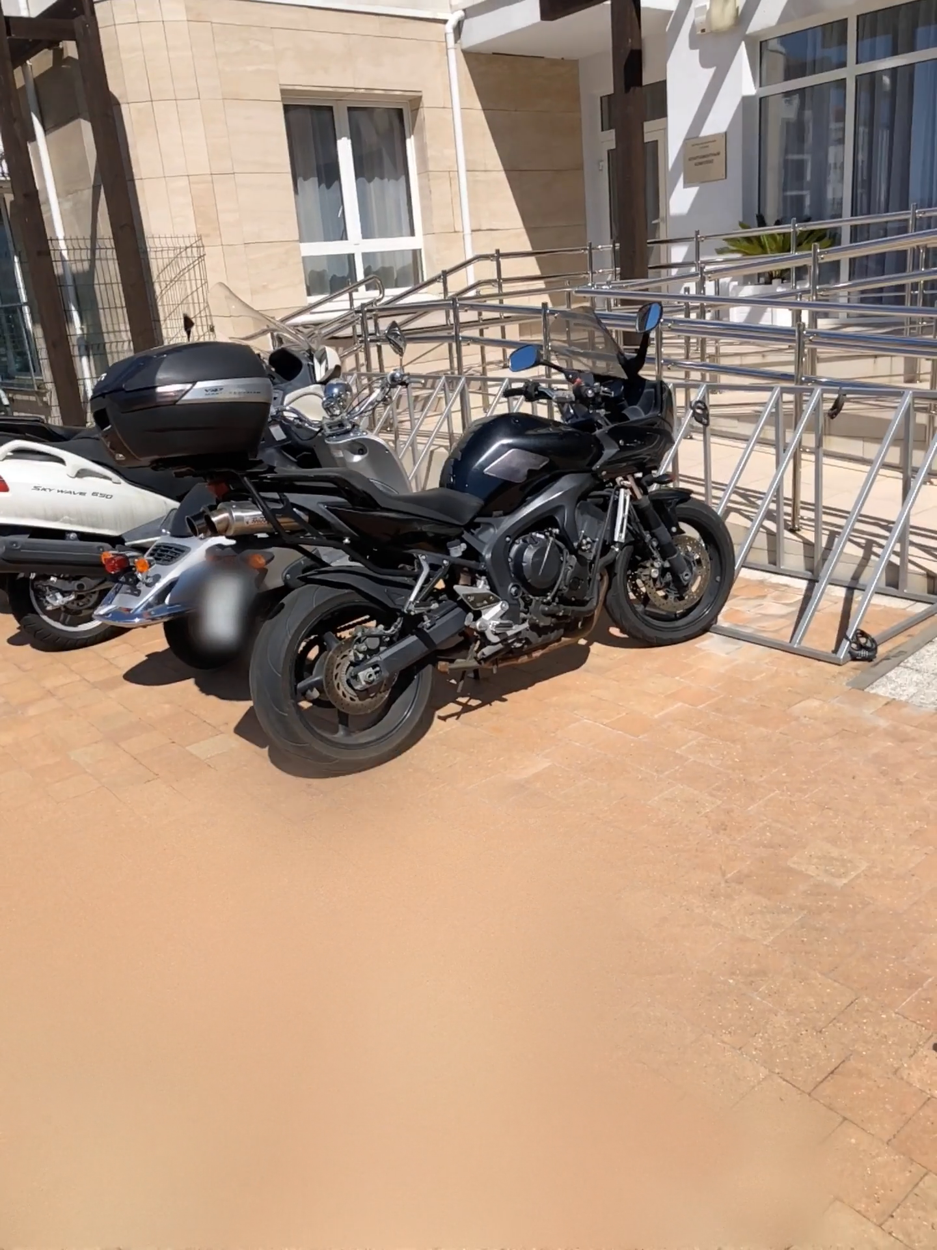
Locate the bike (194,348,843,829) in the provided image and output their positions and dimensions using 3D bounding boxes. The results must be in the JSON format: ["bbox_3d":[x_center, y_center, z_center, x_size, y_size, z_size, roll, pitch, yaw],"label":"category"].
[{"bbox_3d":[0.296,-0.239,3.276,1.921,1.002,0.607,-19,22,-34],"label":"bike"}]
